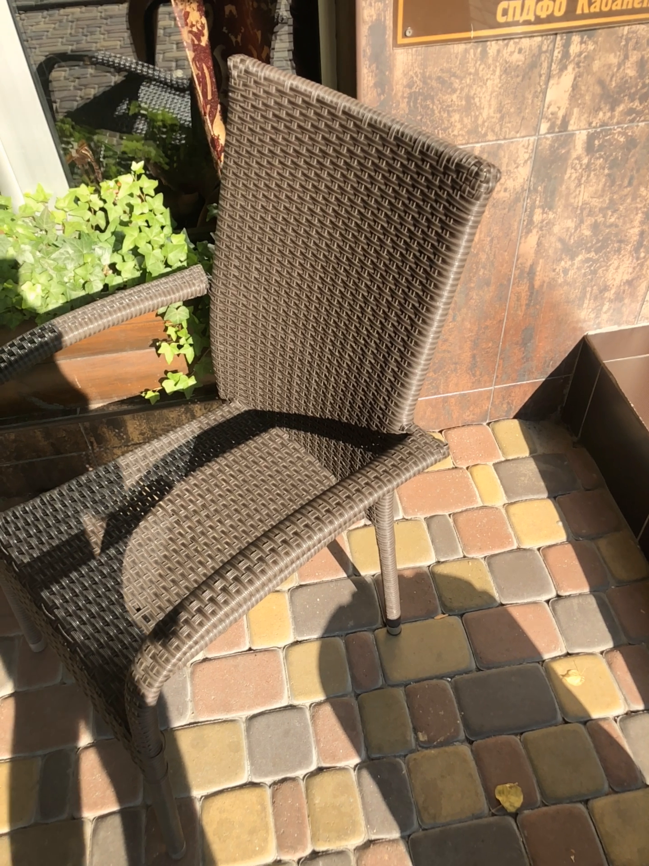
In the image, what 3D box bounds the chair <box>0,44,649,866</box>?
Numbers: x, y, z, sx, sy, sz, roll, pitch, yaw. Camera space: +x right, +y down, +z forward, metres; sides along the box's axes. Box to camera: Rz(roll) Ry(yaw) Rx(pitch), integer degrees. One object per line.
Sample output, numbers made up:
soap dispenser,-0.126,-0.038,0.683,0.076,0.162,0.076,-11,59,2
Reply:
chair,-0.113,0.080,1.058,0.721,0.906,0.611,-33,54,-25
